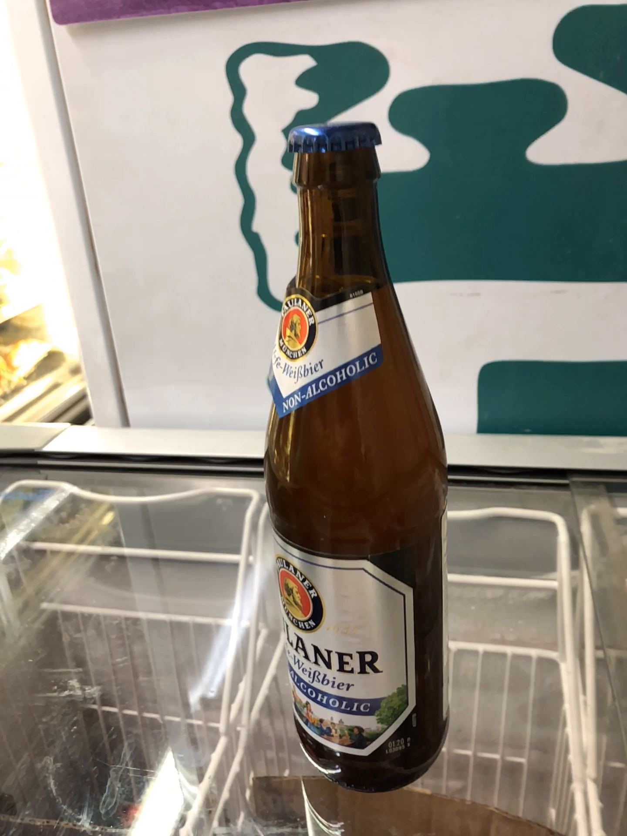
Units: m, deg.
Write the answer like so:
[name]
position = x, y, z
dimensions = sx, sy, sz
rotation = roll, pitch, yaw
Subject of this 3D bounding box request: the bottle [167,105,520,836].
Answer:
[bottle]
position = 0.015, 0.026, 0.254
dimensions = 0.070, 0.248, 0.080
rotation = -19, 27, -28
